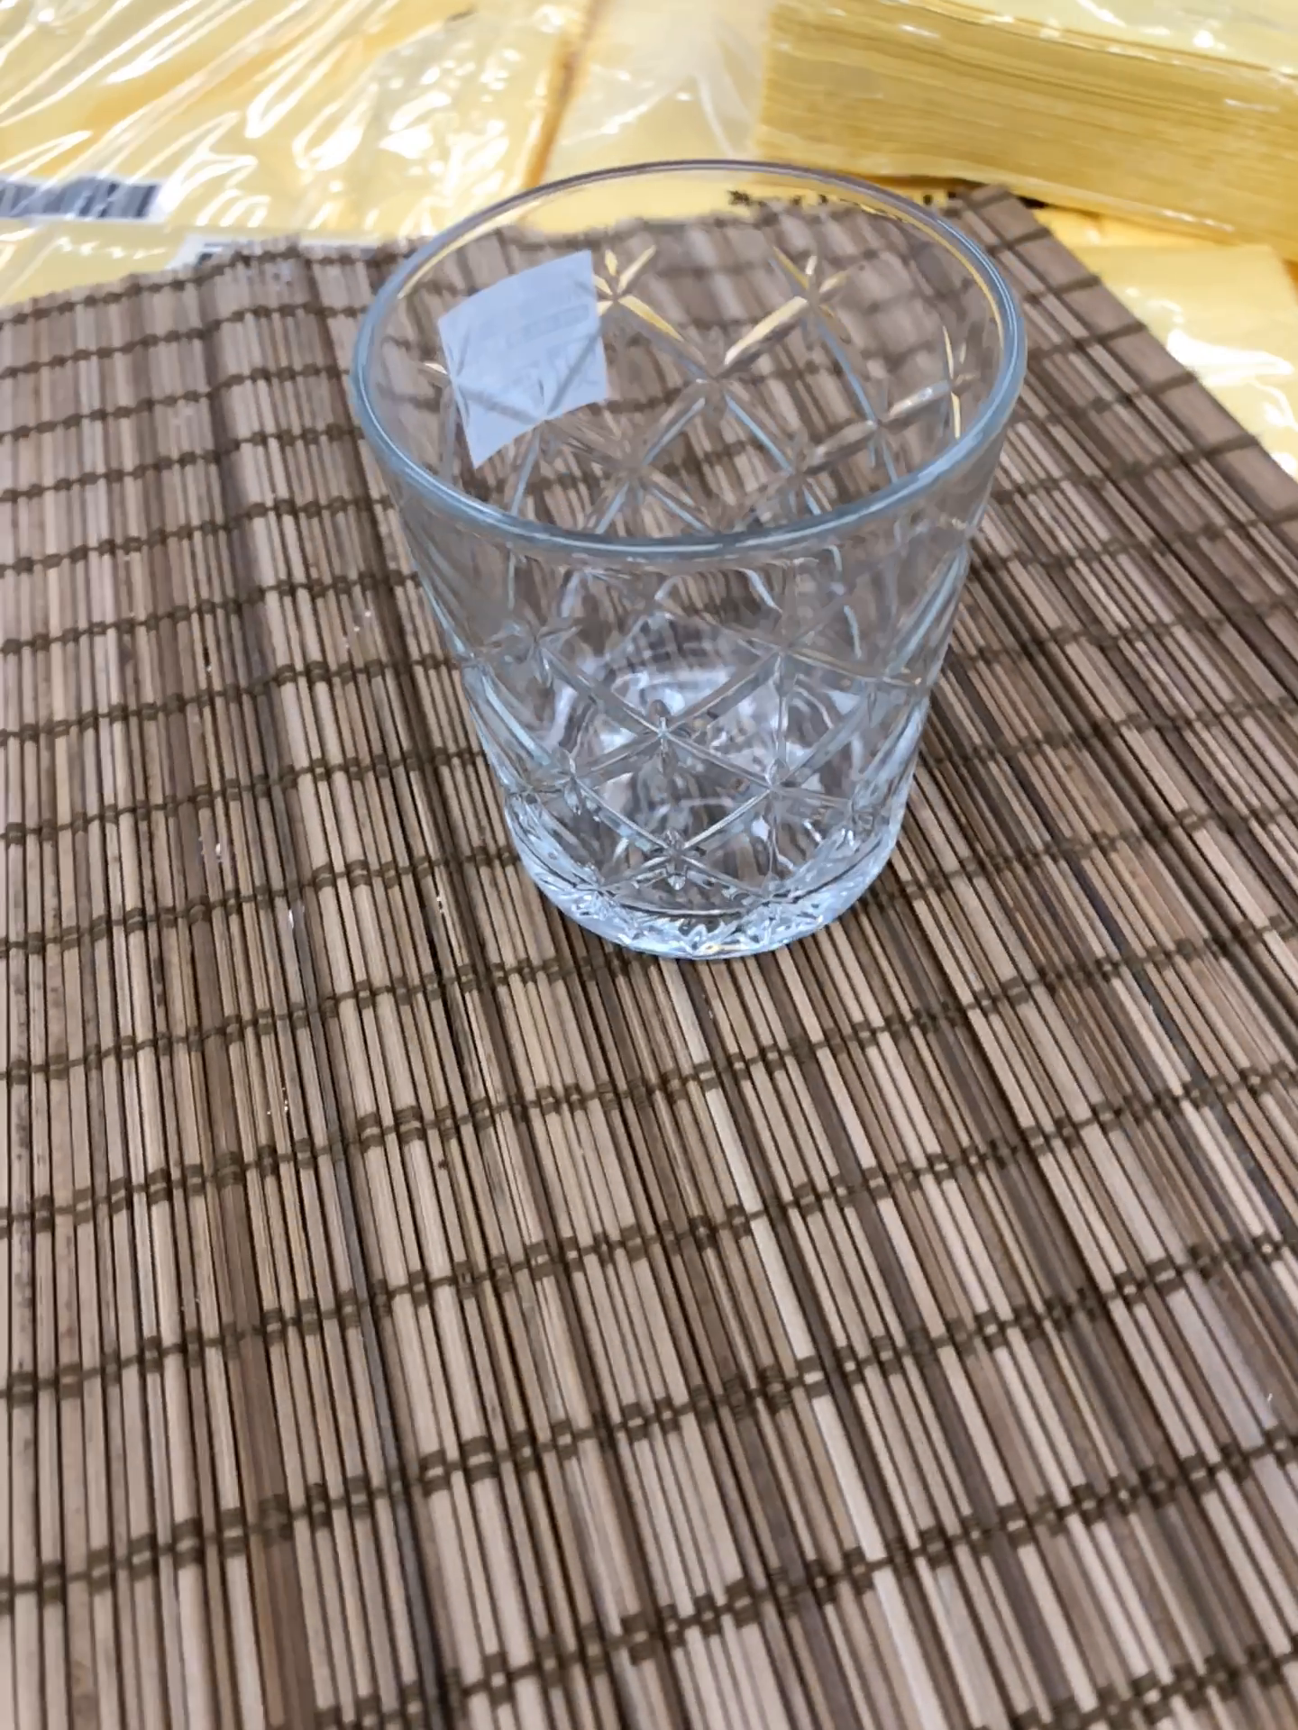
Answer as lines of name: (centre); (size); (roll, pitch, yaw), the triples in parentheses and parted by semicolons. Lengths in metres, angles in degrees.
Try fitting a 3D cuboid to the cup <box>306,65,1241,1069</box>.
cup: (0.011, -0.041, 0.202); (0.080, 0.090, 0.080); (-1, 49, 1)
